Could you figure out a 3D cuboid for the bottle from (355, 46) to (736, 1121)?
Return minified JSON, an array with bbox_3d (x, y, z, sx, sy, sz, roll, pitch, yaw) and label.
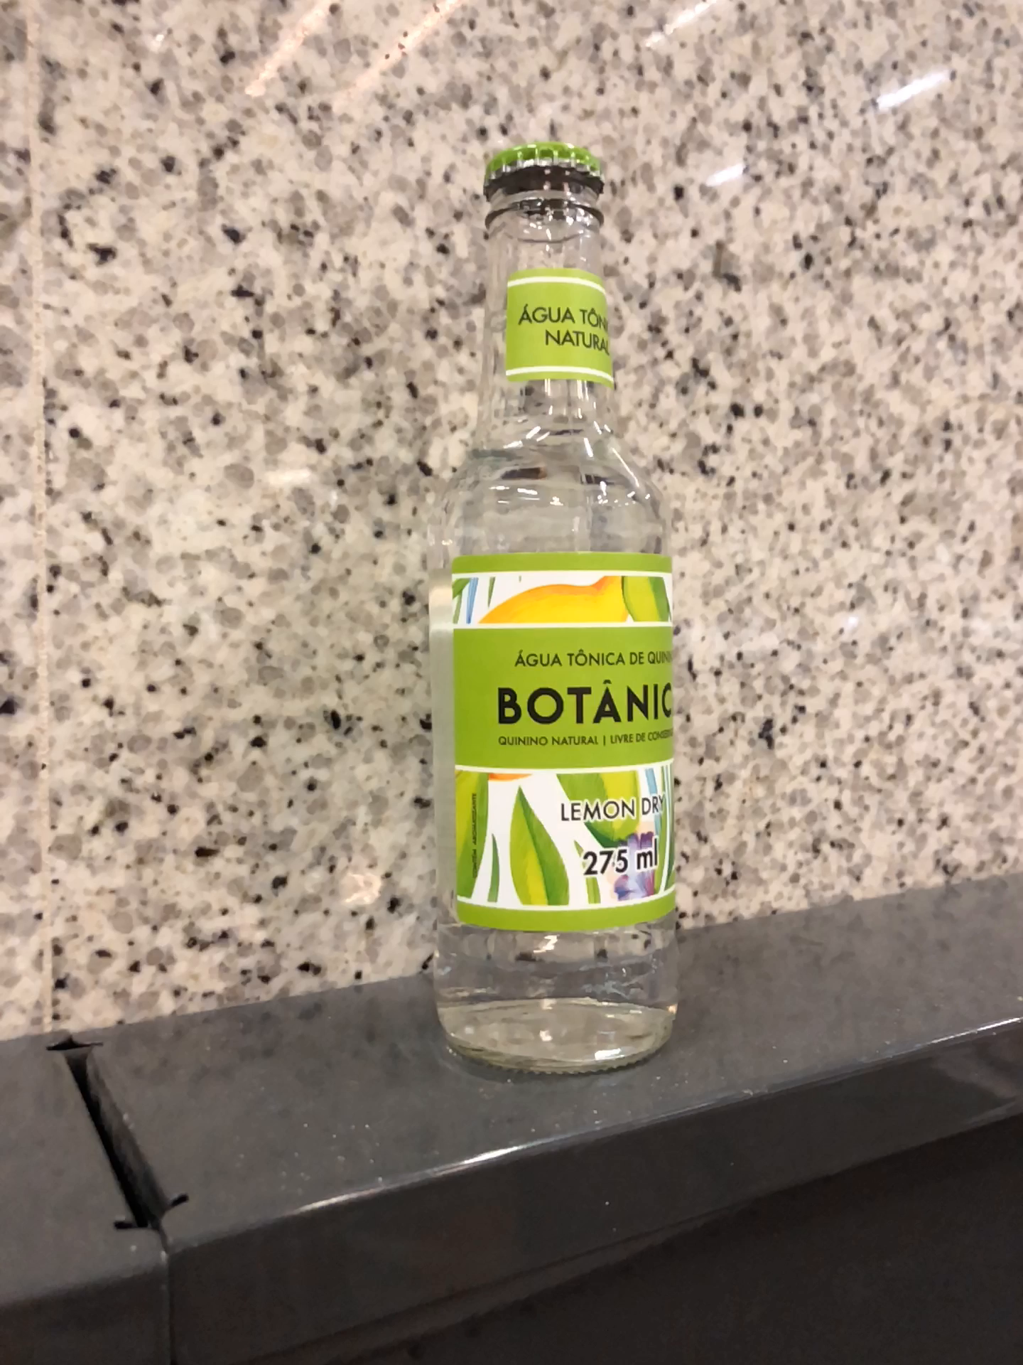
[{"bbox_3d":[0.005,-0.020,0.265,0.060,0.210,0.060,1,4,0],"label":"bottle"}]
